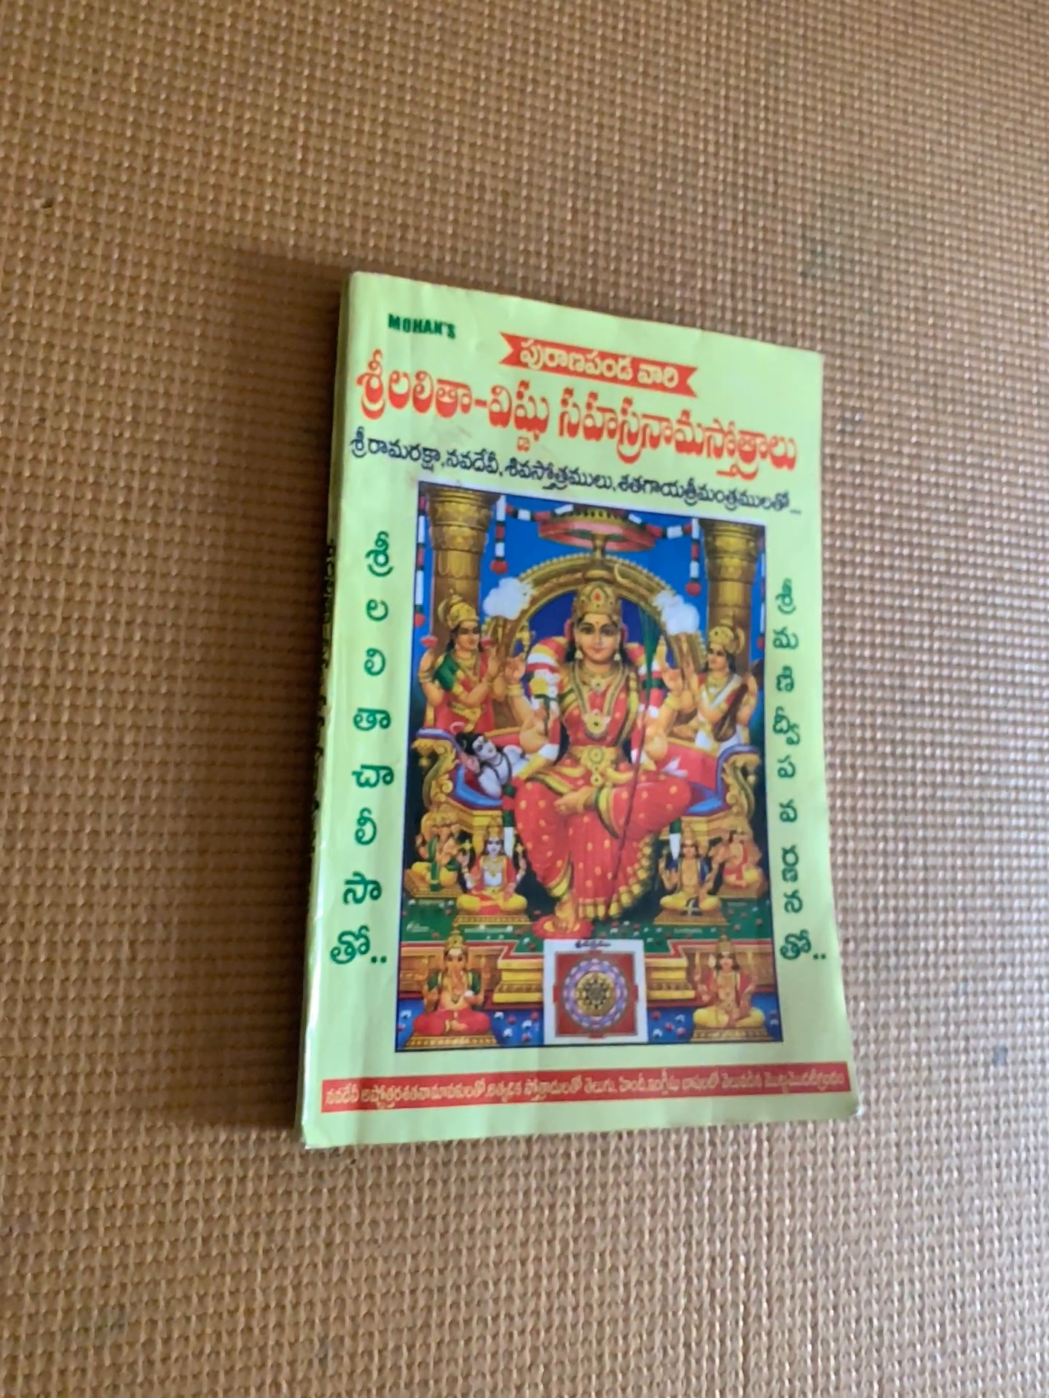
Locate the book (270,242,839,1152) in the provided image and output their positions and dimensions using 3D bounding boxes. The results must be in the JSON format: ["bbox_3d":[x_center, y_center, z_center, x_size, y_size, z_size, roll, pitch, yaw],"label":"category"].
[{"bbox_3d":[0.012,-0.001,0.281,0.140,0.020,0.210,4,81,-18],"label":"book"}]
